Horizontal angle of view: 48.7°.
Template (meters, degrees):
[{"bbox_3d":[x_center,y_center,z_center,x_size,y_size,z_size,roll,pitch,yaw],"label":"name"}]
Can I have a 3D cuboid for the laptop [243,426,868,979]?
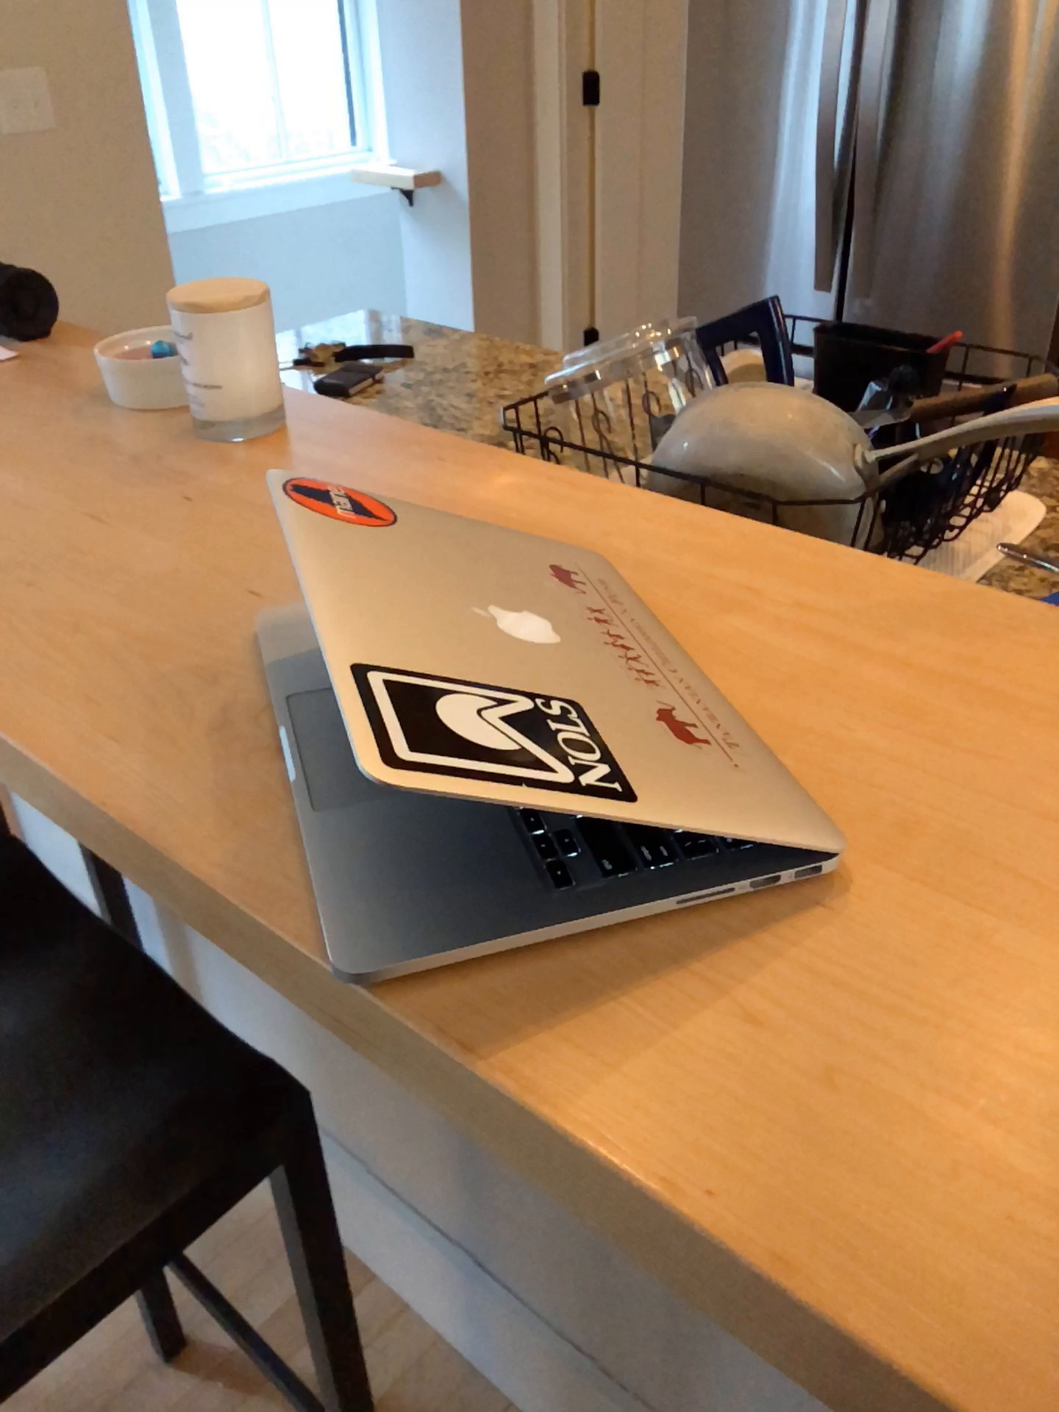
[{"bbox_3d":[-0.013,-0.031,0.560,0.210,0.084,0.301,-10,34,-12],"label":"laptop"}]
